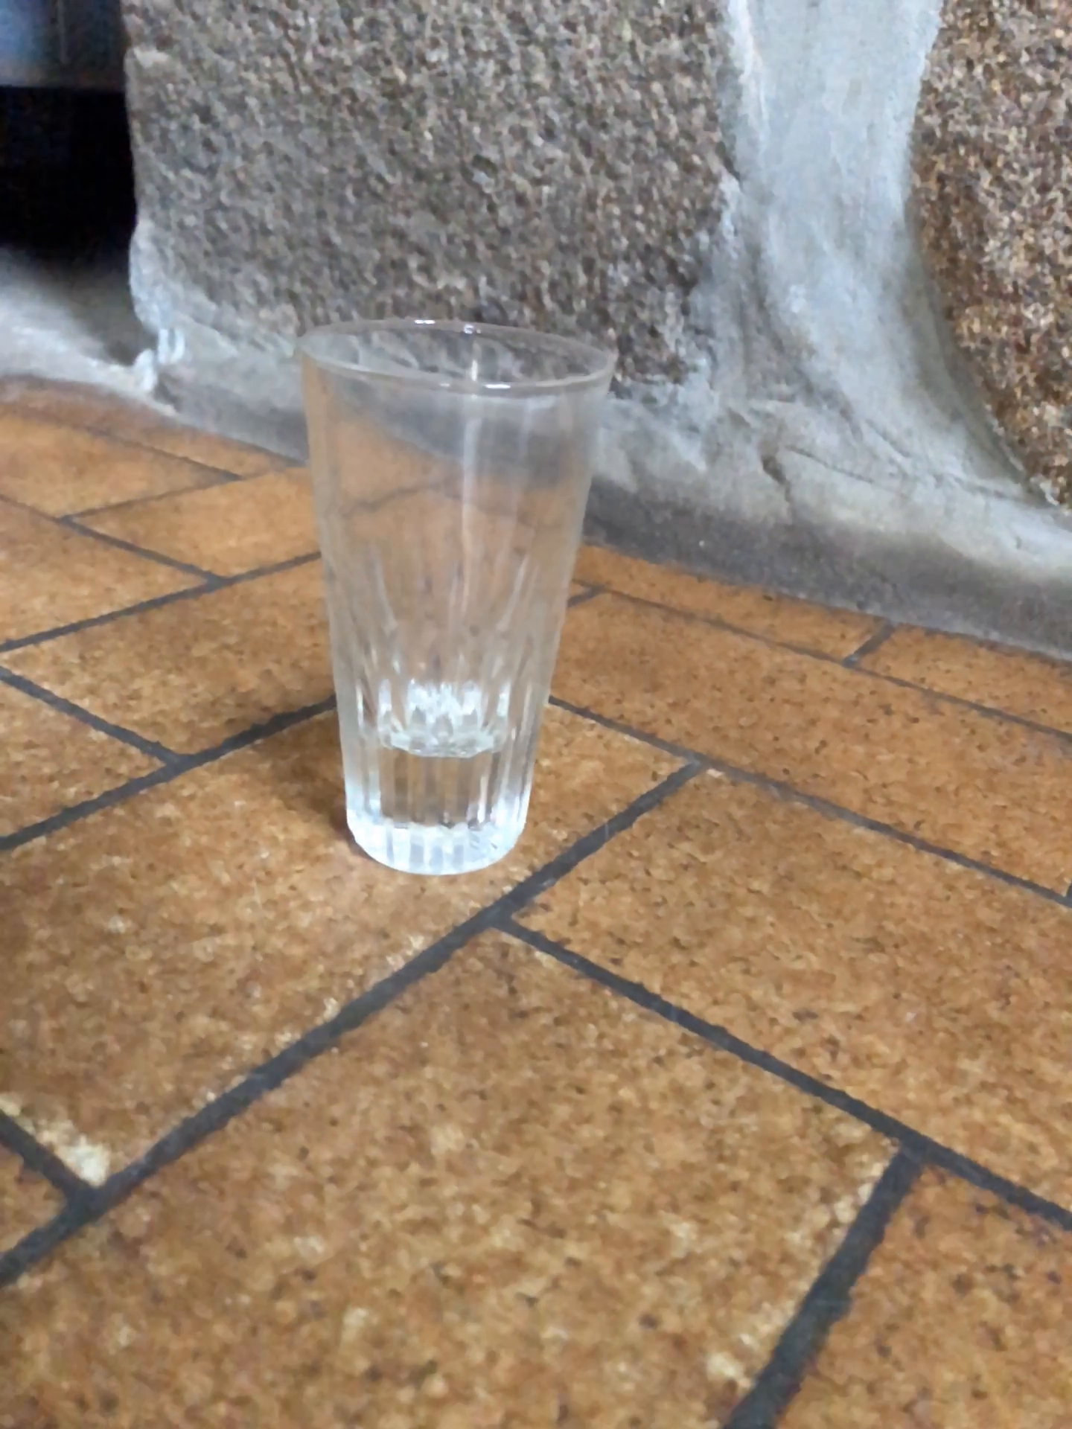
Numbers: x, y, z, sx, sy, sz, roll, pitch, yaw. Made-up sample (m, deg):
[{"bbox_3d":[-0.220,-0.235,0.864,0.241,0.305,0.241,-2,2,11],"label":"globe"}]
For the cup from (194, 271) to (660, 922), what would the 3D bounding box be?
[{"bbox_3d":[-0.023,-0.031,0.270,0.070,0.119,0.070,4,26,-2],"label":"cup"}]
